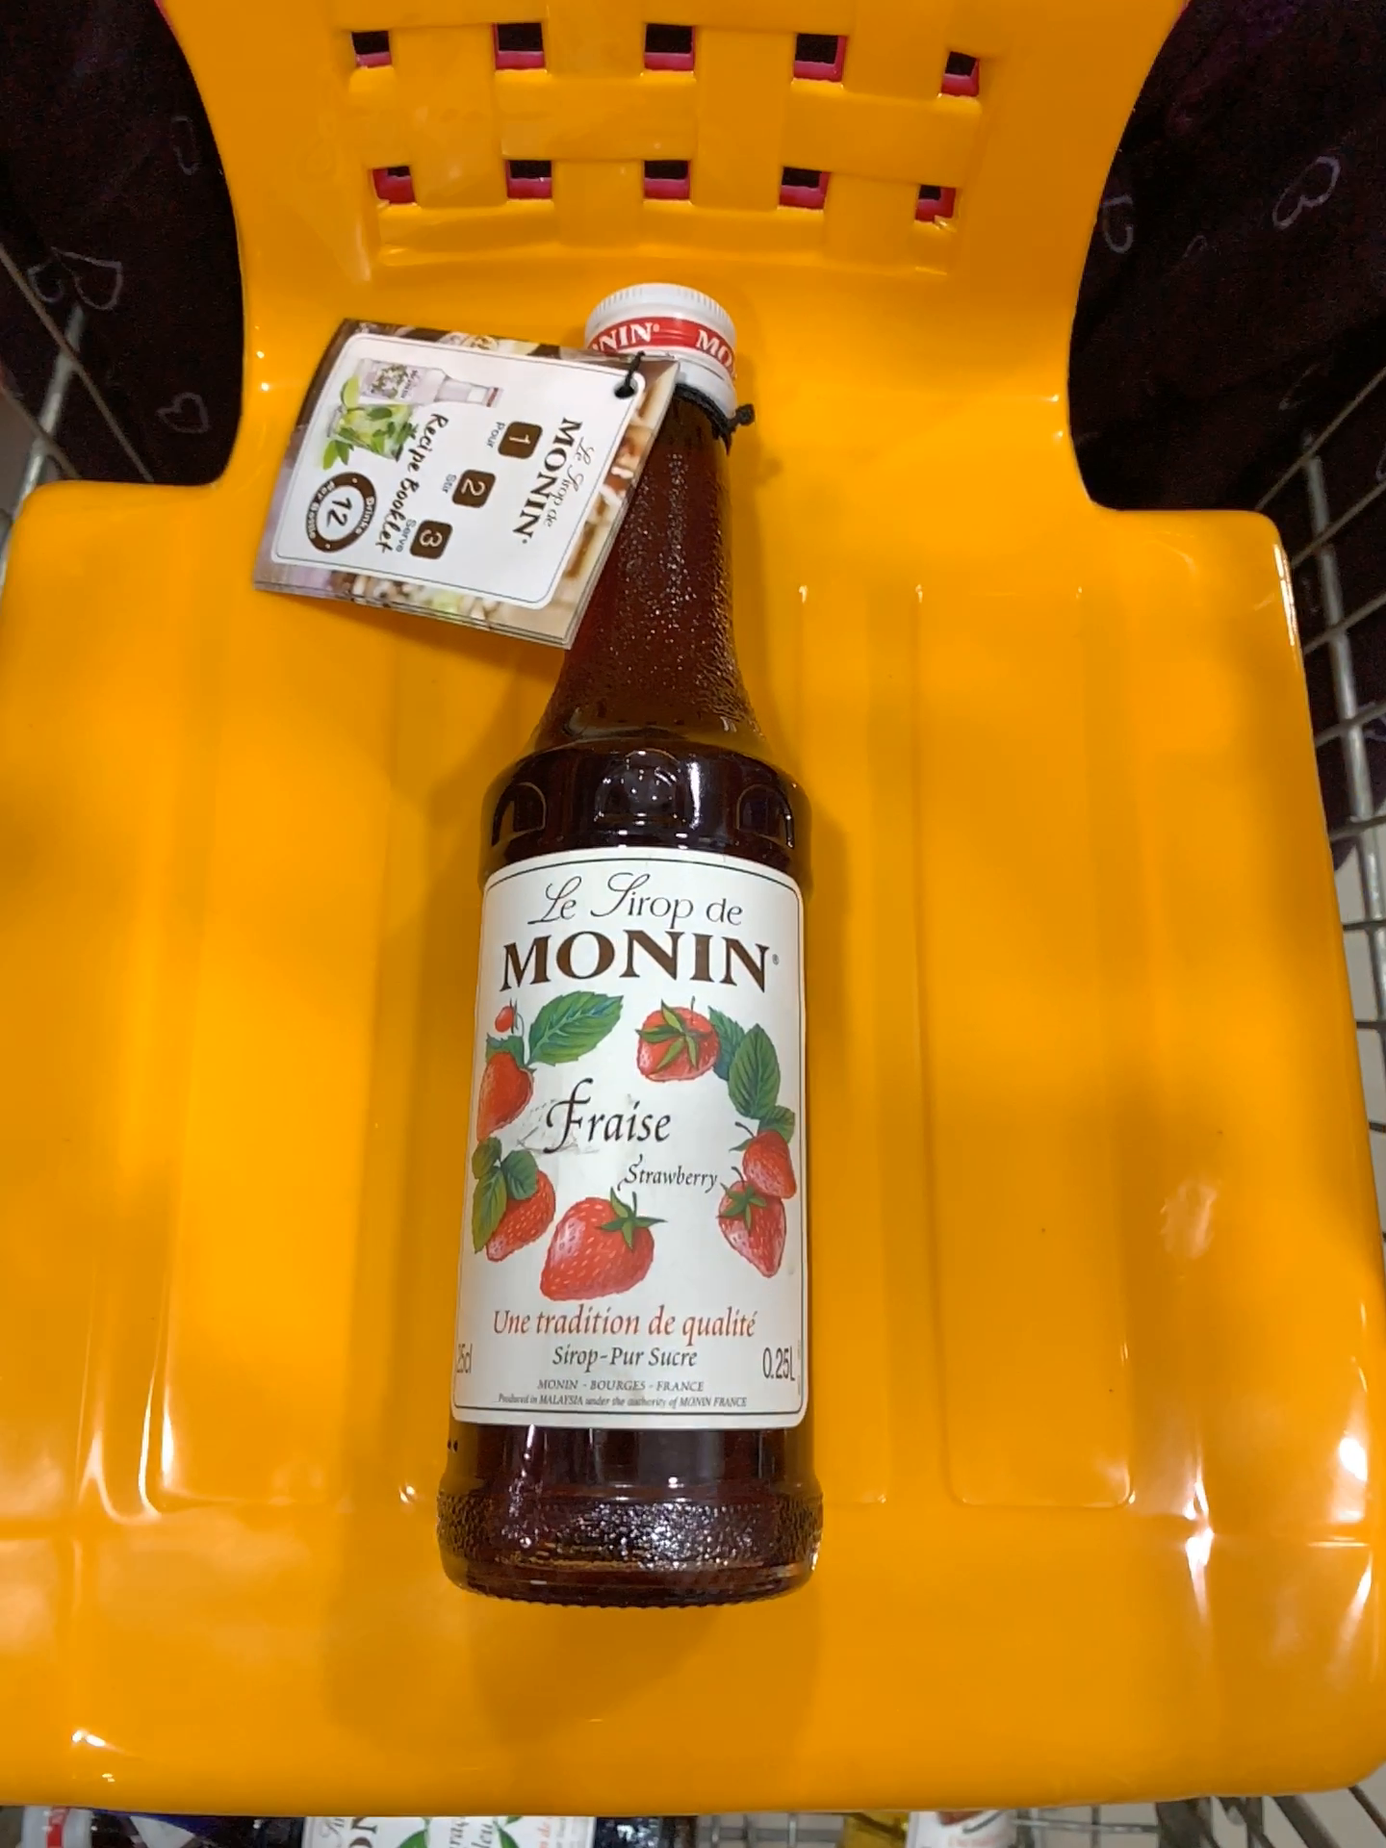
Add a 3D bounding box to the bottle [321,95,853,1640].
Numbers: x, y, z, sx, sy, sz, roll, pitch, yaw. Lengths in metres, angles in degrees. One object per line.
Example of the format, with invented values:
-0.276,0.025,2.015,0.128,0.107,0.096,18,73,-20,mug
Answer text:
-0.010,-0.018,0.229,0.060,0.060,0.230,3,70,-2,bottle
